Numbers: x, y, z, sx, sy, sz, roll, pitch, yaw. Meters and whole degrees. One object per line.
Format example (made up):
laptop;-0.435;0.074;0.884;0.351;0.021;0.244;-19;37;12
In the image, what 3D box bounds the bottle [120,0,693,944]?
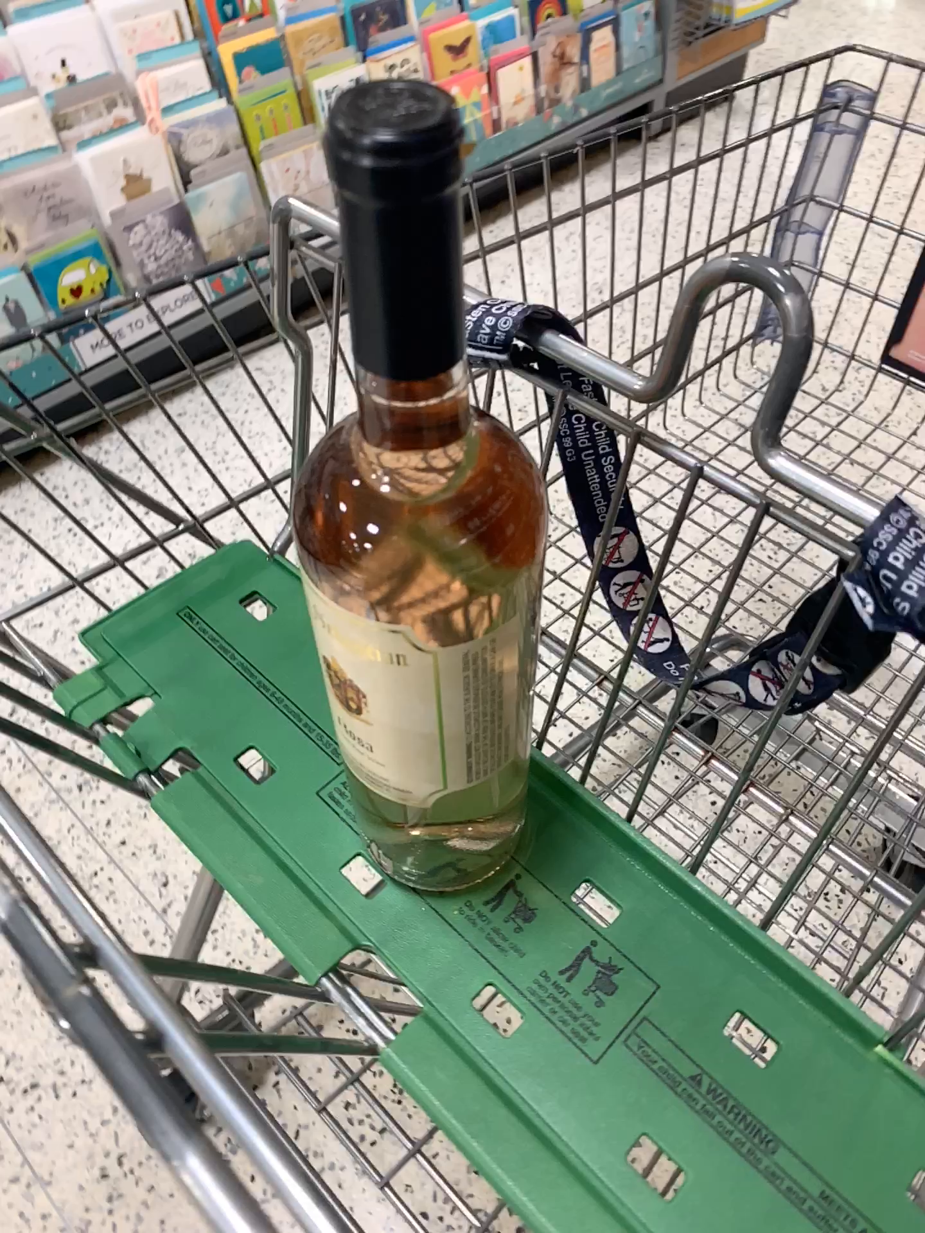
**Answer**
bottle;-0.010;-0.010;0.319;0.087;0.315;0.084;-1;50;1
